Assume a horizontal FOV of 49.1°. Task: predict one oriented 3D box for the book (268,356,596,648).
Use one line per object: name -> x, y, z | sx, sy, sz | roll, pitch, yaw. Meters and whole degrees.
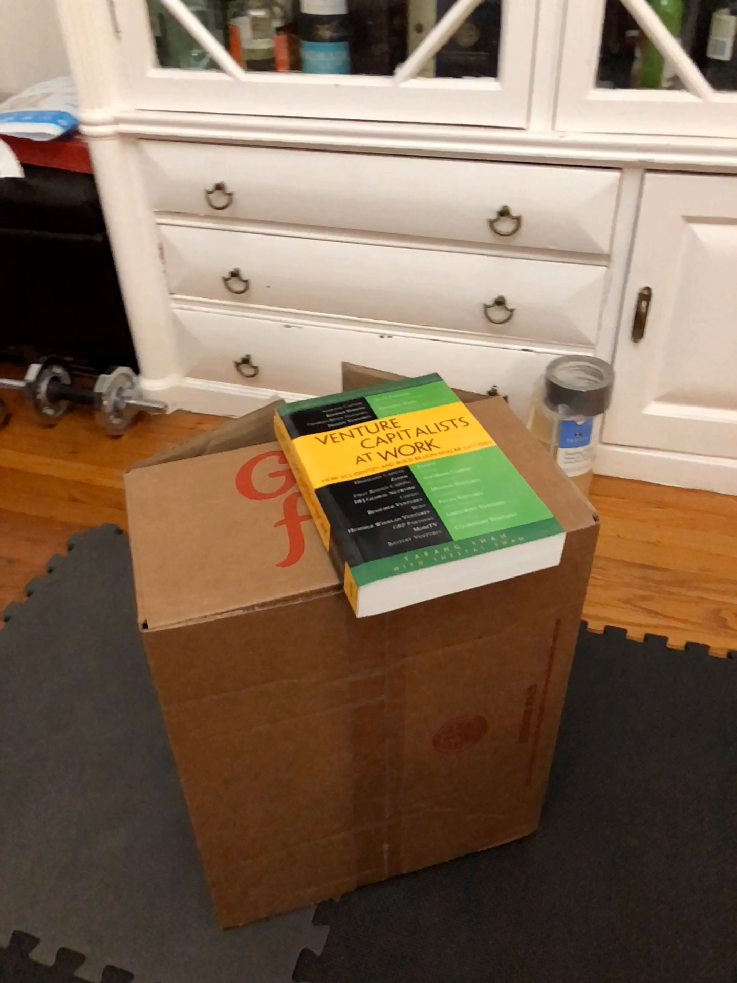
book -> 0.033, -0.010, 0.618 | 0.160, 0.040, 0.261 | -13, 40, -13
